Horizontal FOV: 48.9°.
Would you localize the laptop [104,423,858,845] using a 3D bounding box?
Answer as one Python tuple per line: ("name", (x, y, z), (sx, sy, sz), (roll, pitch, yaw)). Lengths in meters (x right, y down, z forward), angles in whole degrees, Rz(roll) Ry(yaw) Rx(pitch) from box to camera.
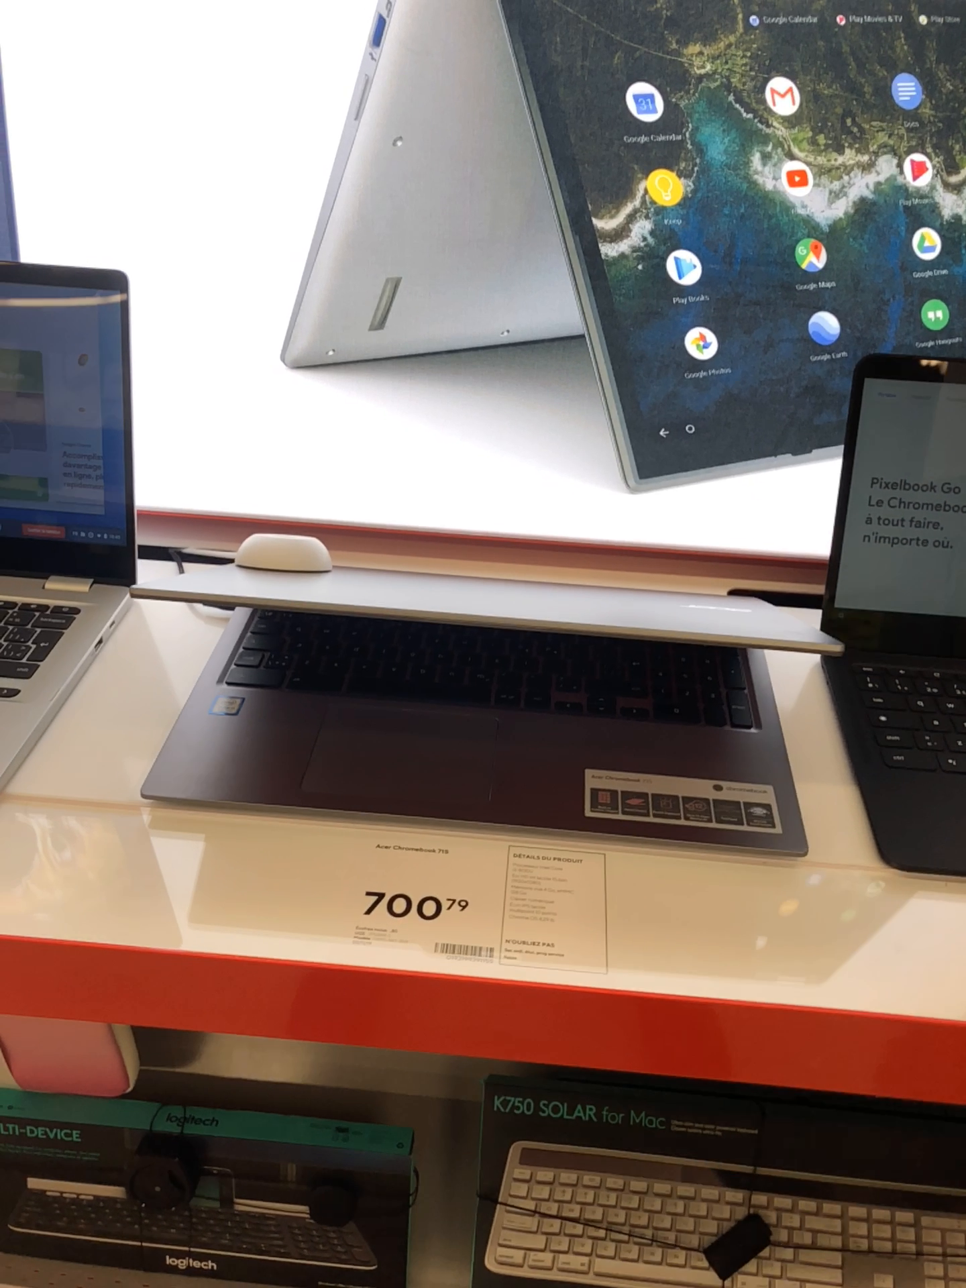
("laptop", (0.008, -0.020, 0.648), (0.368, 0.109, 0.245), (5, 35, 1))
